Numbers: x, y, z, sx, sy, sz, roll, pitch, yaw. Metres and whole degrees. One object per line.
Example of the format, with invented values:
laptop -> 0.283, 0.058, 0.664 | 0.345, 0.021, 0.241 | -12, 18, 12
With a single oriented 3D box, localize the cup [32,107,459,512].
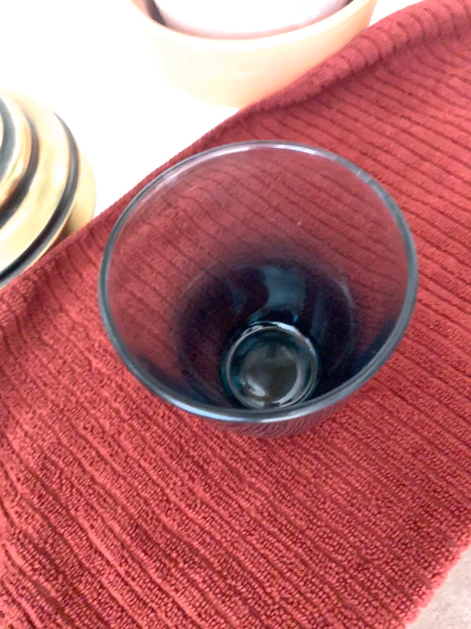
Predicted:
cup -> 0.009, 0.000, 0.157 | 0.084, 0.070, 0.087 | -3, 63, 6
